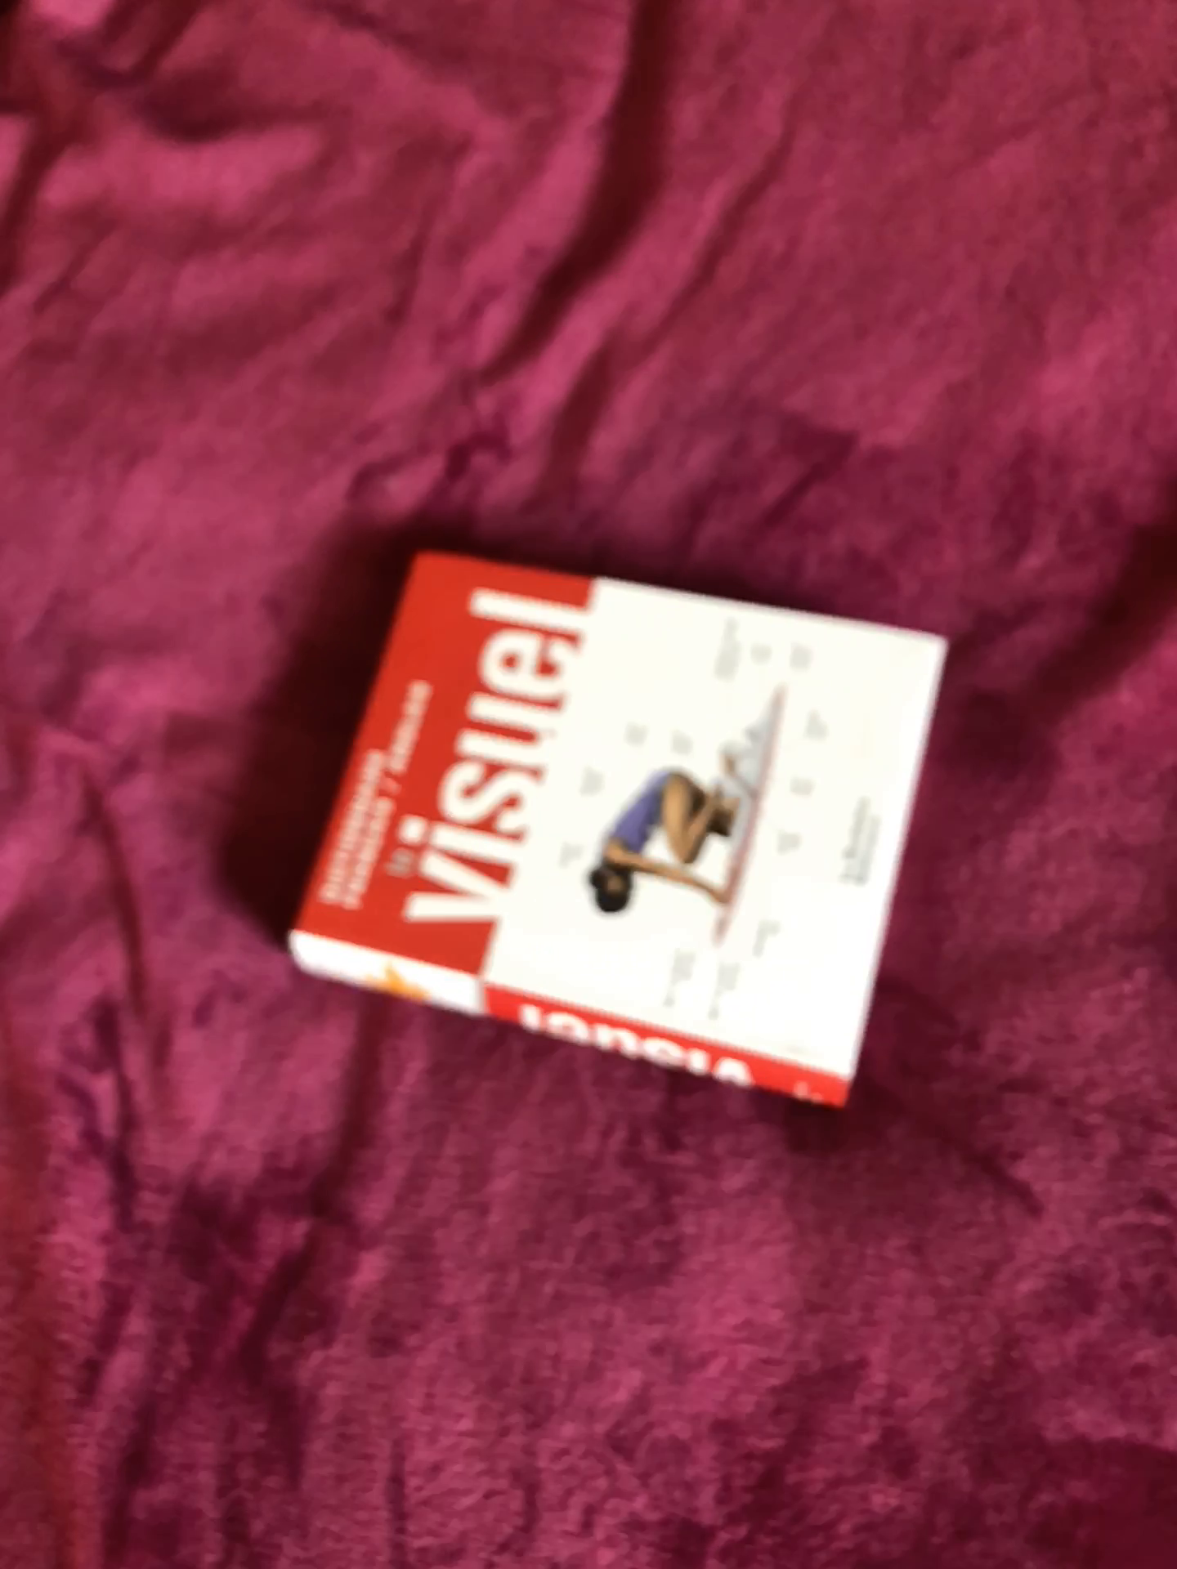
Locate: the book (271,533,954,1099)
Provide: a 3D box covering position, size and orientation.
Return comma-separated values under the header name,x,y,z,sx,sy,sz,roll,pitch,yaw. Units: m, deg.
name,x,y,z,sx,sy,sz,roll,pitch,yaw
book,0.010,0.006,0.423,0.180,0.039,0.140,12,75,13
